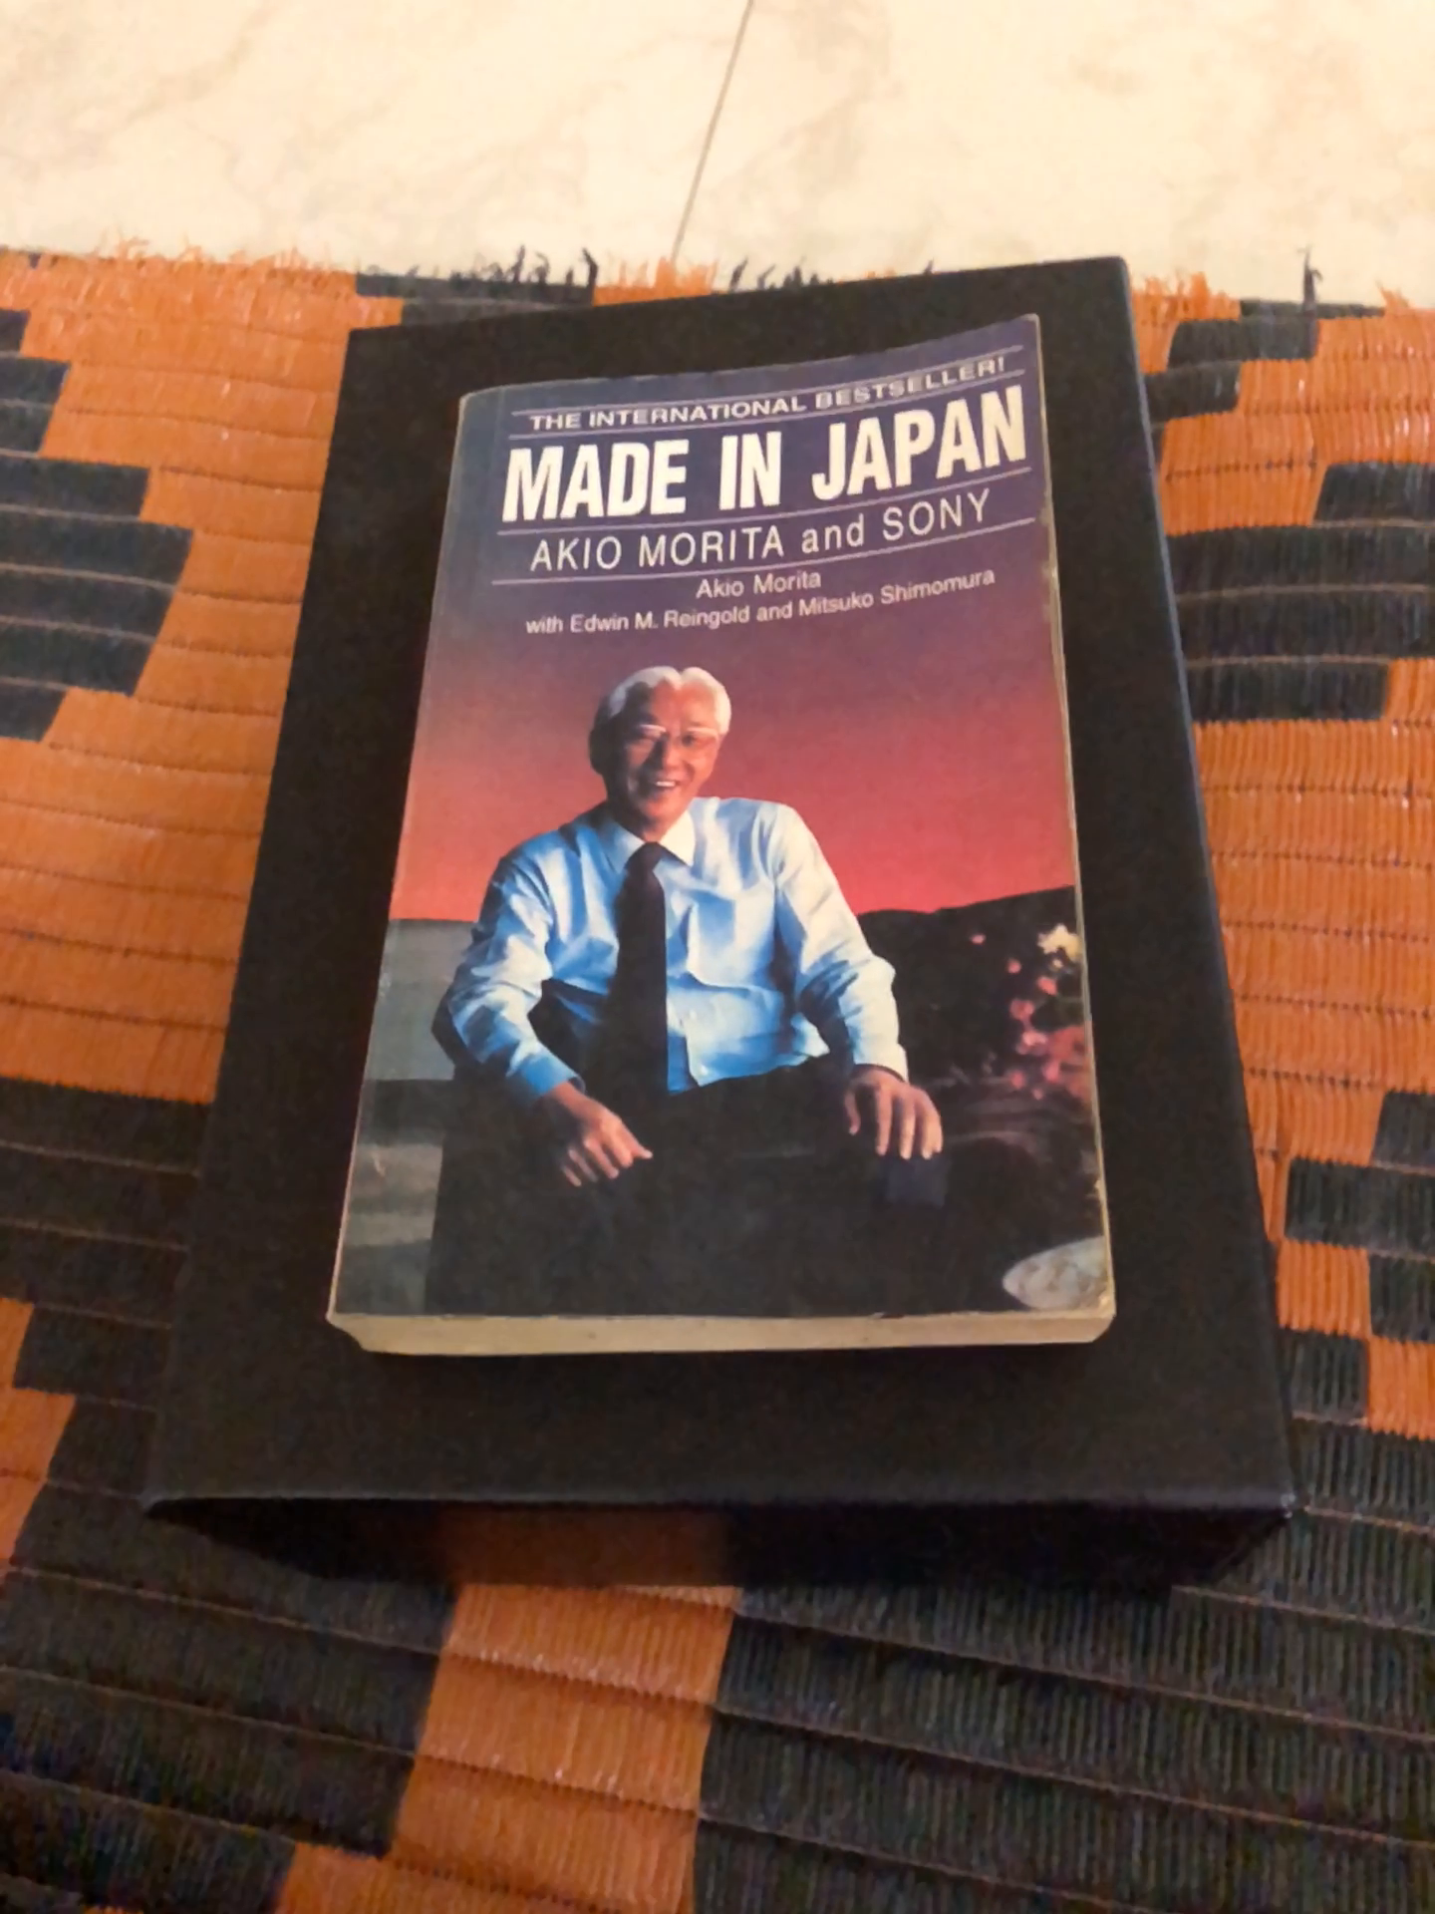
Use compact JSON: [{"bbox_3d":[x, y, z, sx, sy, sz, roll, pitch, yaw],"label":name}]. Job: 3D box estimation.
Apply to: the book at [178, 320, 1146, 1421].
[{"bbox_3d":[-0.005,-0.019,0.247,0.120,0.030,0.170,-3,62,10],"label":"book"}]
